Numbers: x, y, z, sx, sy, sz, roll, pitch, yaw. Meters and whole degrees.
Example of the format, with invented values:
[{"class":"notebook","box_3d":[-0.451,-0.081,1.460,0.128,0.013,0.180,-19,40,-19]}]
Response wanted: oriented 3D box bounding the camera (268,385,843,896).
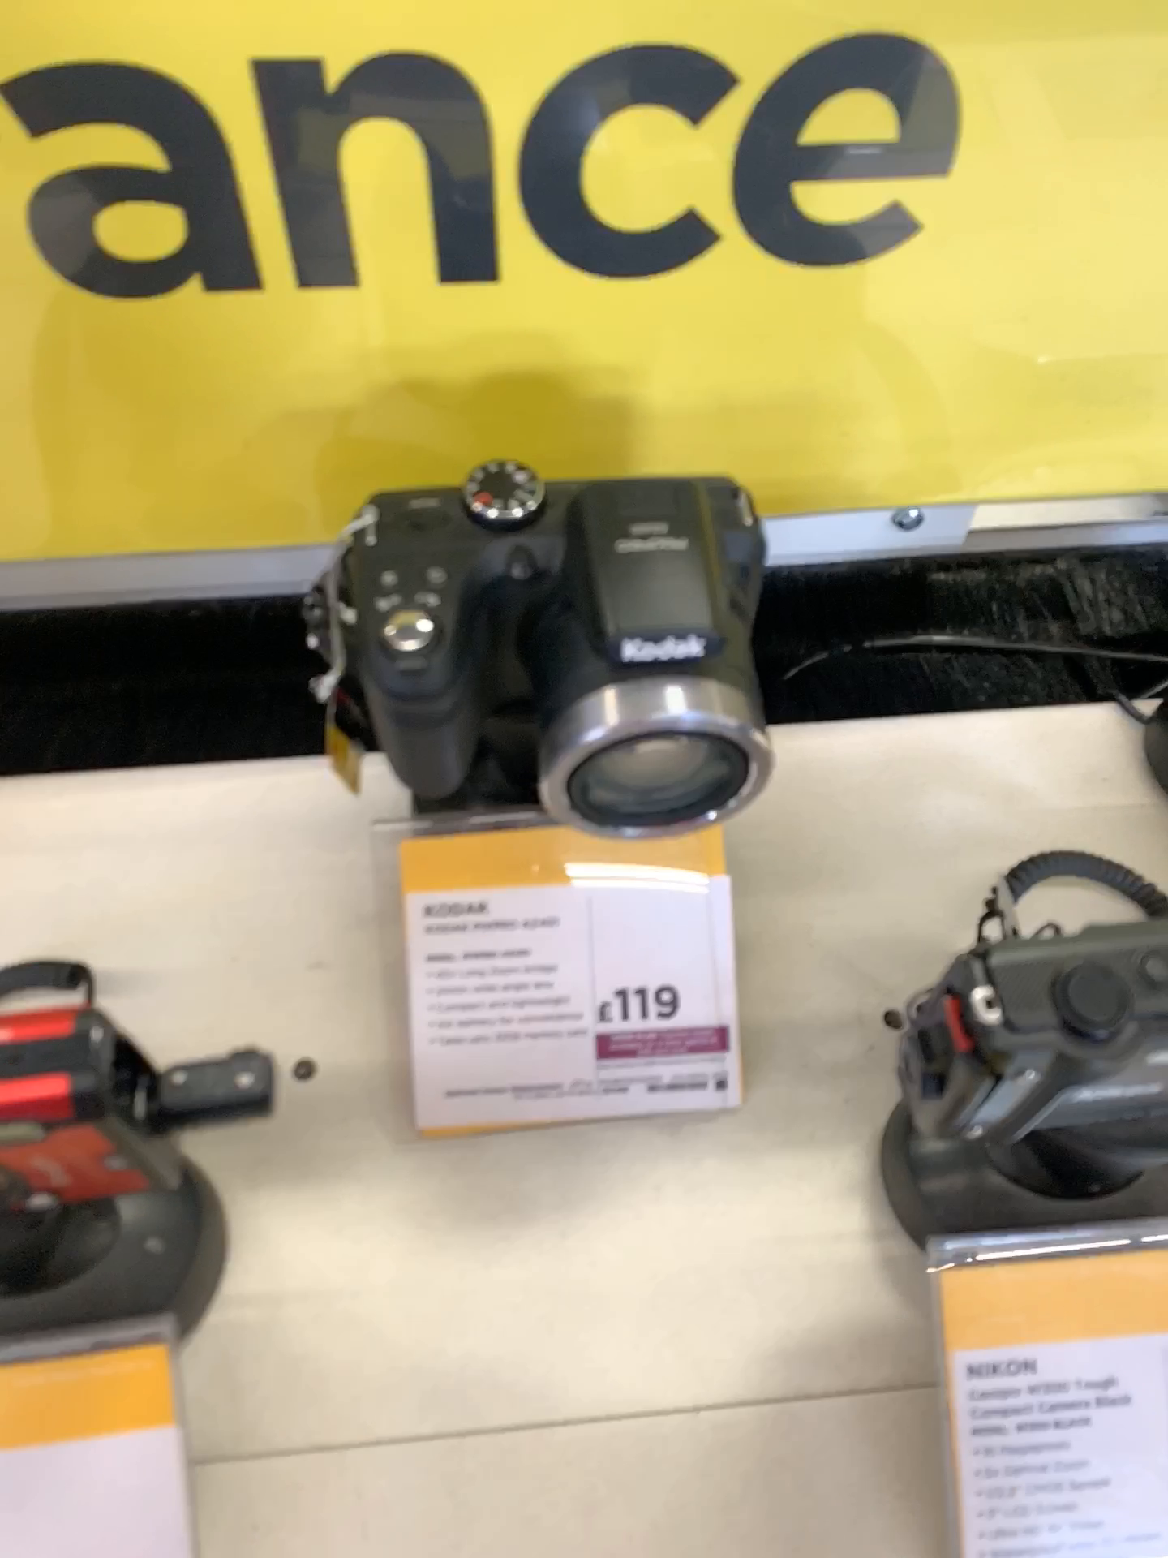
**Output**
[{"class":"camera","box_3d":[-0.011,-0.036,0.333,0.130,0.099,0.091,-5,57,-4]}]
